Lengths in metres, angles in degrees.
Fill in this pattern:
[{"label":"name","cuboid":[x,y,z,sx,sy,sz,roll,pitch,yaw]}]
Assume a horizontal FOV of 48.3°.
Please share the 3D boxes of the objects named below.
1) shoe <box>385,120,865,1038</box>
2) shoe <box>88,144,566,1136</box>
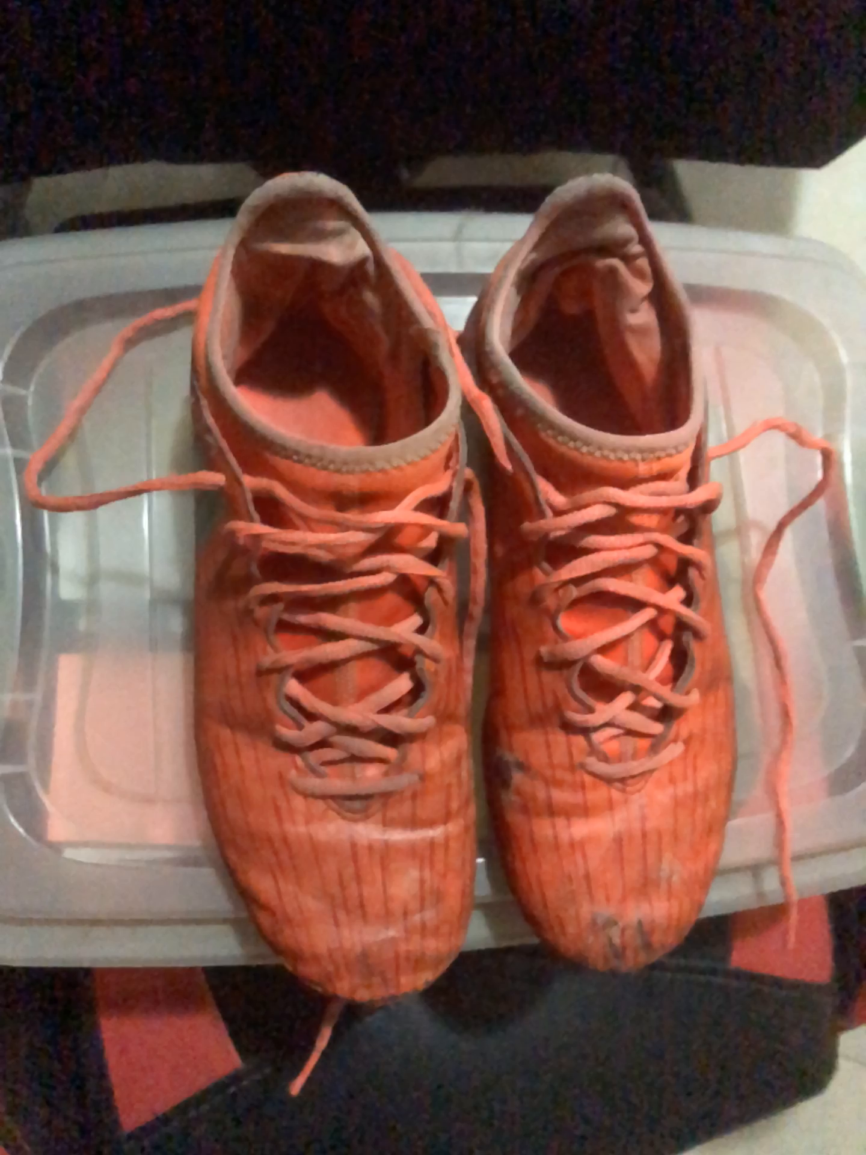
[{"label":"shoe","cuboid":[0.050,-0.001,0.322,0.090,0.130,0.240,-7,81,-9]},{"label":"shoe","cuboid":[-0.038,0.014,0.306,0.090,0.130,0.240,-7,81,-9]}]
